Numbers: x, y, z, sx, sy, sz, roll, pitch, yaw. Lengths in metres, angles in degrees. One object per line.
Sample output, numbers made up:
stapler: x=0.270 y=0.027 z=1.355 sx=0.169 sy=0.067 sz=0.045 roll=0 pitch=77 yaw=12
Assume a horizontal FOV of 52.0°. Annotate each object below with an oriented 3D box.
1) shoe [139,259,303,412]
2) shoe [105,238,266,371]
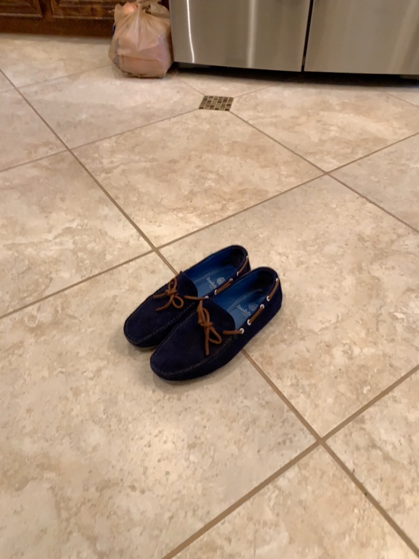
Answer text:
shoe: x=0.027 y=0.085 z=0.735 sx=0.282 sy=0.074 sz=0.099 roll=-35 pitch=54 yaw=-28
shoe: x=-0.035 y=0.036 z=0.787 sx=0.281 sy=0.074 sz=0.099 roll=-31 pitch=52 yaw=-25
